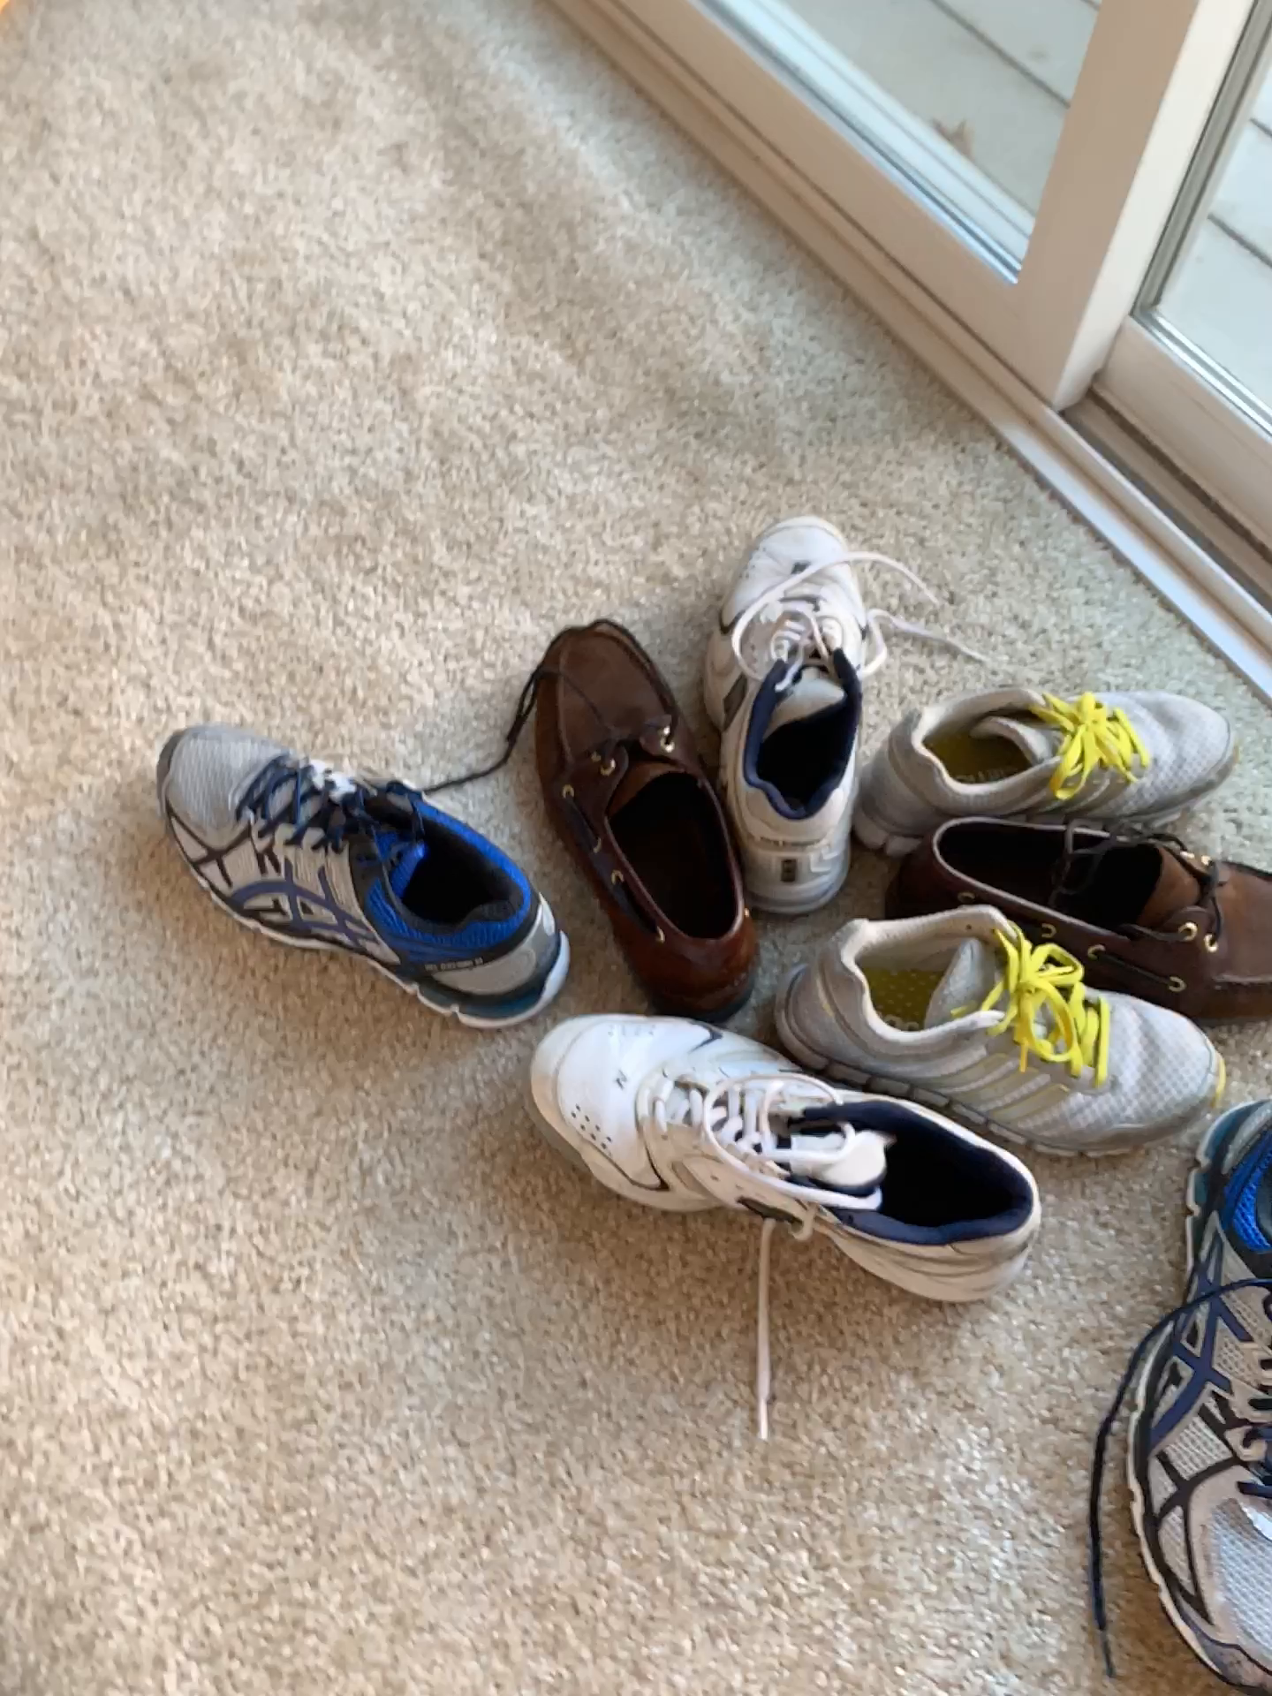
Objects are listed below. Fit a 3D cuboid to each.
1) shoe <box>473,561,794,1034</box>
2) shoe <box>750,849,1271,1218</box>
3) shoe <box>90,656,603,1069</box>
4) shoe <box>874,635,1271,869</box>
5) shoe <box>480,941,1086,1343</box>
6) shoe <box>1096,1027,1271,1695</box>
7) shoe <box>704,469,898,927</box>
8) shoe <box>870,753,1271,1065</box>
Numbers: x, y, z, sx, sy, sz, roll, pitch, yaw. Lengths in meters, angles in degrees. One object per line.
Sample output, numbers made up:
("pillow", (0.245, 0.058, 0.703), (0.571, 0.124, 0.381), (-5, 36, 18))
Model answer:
("shoe", (-0.008, -0.037, 0.837), (0.100, 0.110, 0.271), (-19, 62, -11))
("shoe", (0.192, 0.096, 0.674), (0.240, 0.090, 0.100), (16, 62, 7))
("shoe", (-0.165, 0.006, 0.772), (0.270, 0.090, 0.110), (26, 64, 15))
("shoe", (0.274, -0.059, 0.797), (0.230, 0.060, 0.100), (-7, 61, -6))
("shoe", (0.071, 0.154, 0.685), (0.280, 0.110, 0.090), (18, 62, 10))
("shoe", (0.318, 0.255, 0.651), (0.110, 0.110, 0.291), (14, 63, 7))
("shoe", (0.104, -0.099, 0.832), (0.100, 0.110, 0.271), (5, 60, 2))
("shoe", (0.290, 0.036, 0.765), (0.280, 0.080, 0.100), (12, 62, 5))
